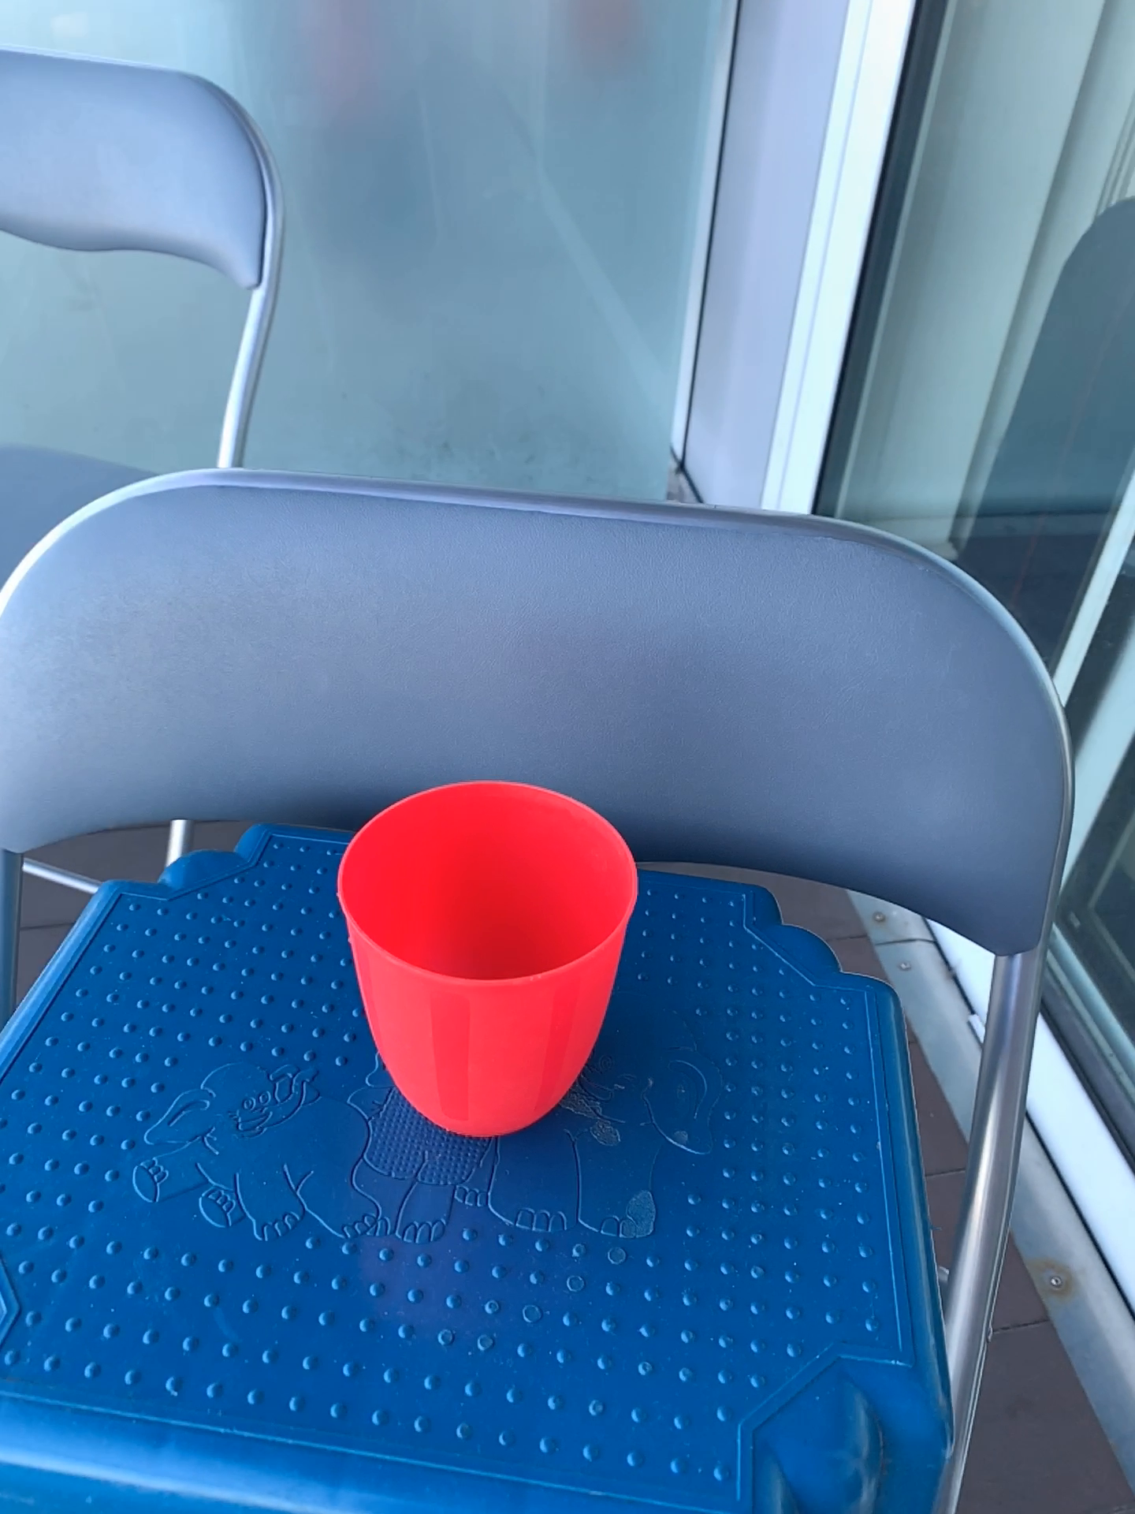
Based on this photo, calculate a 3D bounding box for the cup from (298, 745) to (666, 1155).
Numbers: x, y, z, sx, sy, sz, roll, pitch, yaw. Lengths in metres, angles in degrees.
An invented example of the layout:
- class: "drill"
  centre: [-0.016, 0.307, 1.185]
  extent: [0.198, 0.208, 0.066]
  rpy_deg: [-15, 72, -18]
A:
- class: "cup"
  centre: [-0.021, 0.055, 0.339]
  extent: [0.086, 0.077, 0.074]
  rpy_deg: [7, 41, 4]
